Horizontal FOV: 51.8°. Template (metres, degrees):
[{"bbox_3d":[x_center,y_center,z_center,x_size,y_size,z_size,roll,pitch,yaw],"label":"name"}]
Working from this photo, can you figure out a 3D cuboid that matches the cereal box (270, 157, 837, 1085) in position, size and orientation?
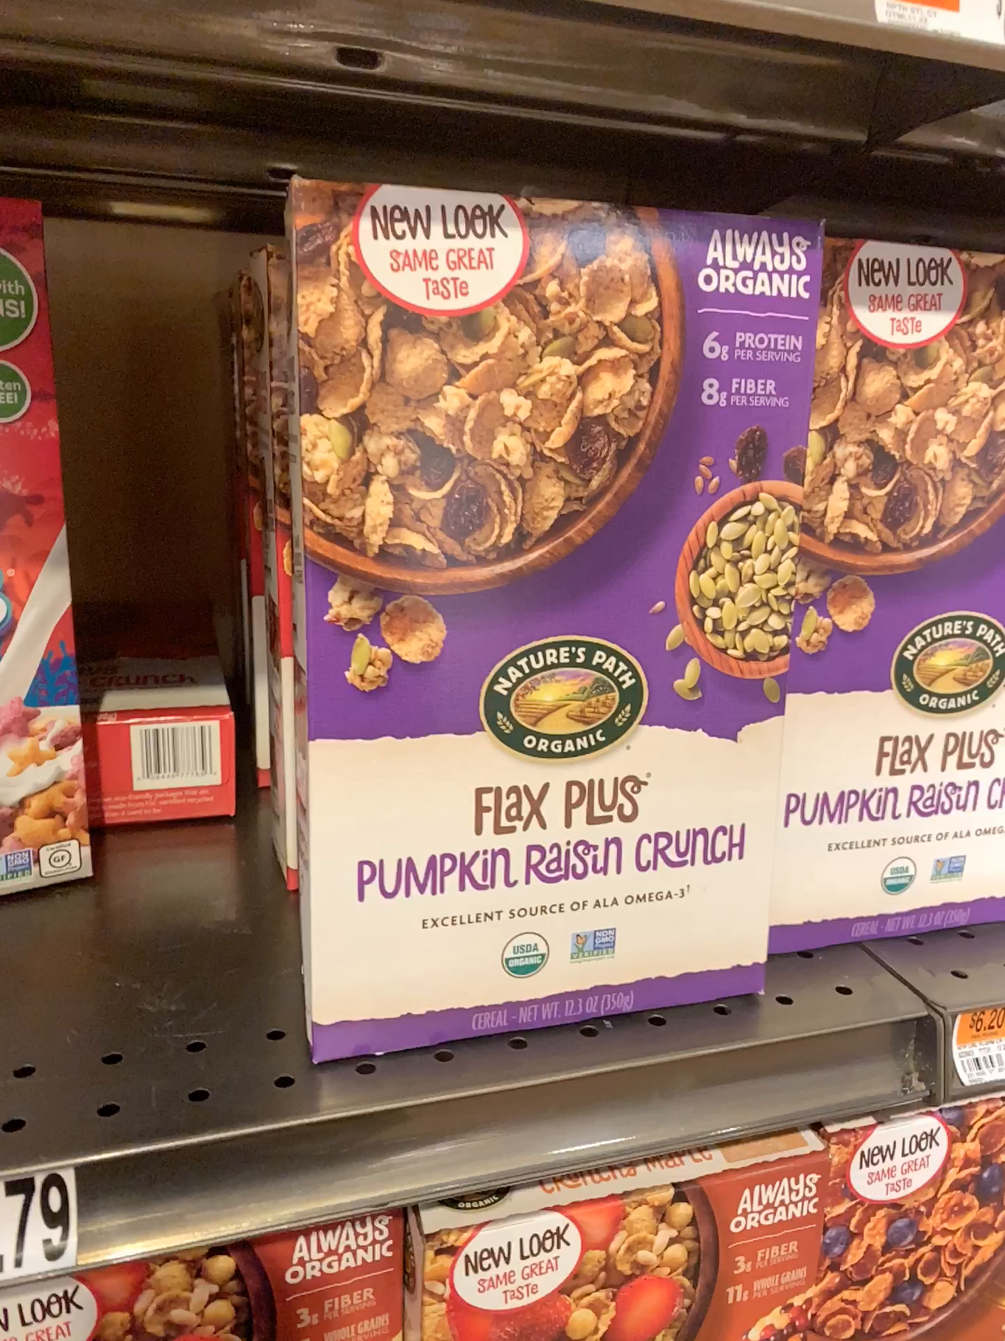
[{"bbox_3d":[0.014,-0.012,0.346,0.170,0.269,0.050,-2,11,-17],"label":"cereal box"}]
